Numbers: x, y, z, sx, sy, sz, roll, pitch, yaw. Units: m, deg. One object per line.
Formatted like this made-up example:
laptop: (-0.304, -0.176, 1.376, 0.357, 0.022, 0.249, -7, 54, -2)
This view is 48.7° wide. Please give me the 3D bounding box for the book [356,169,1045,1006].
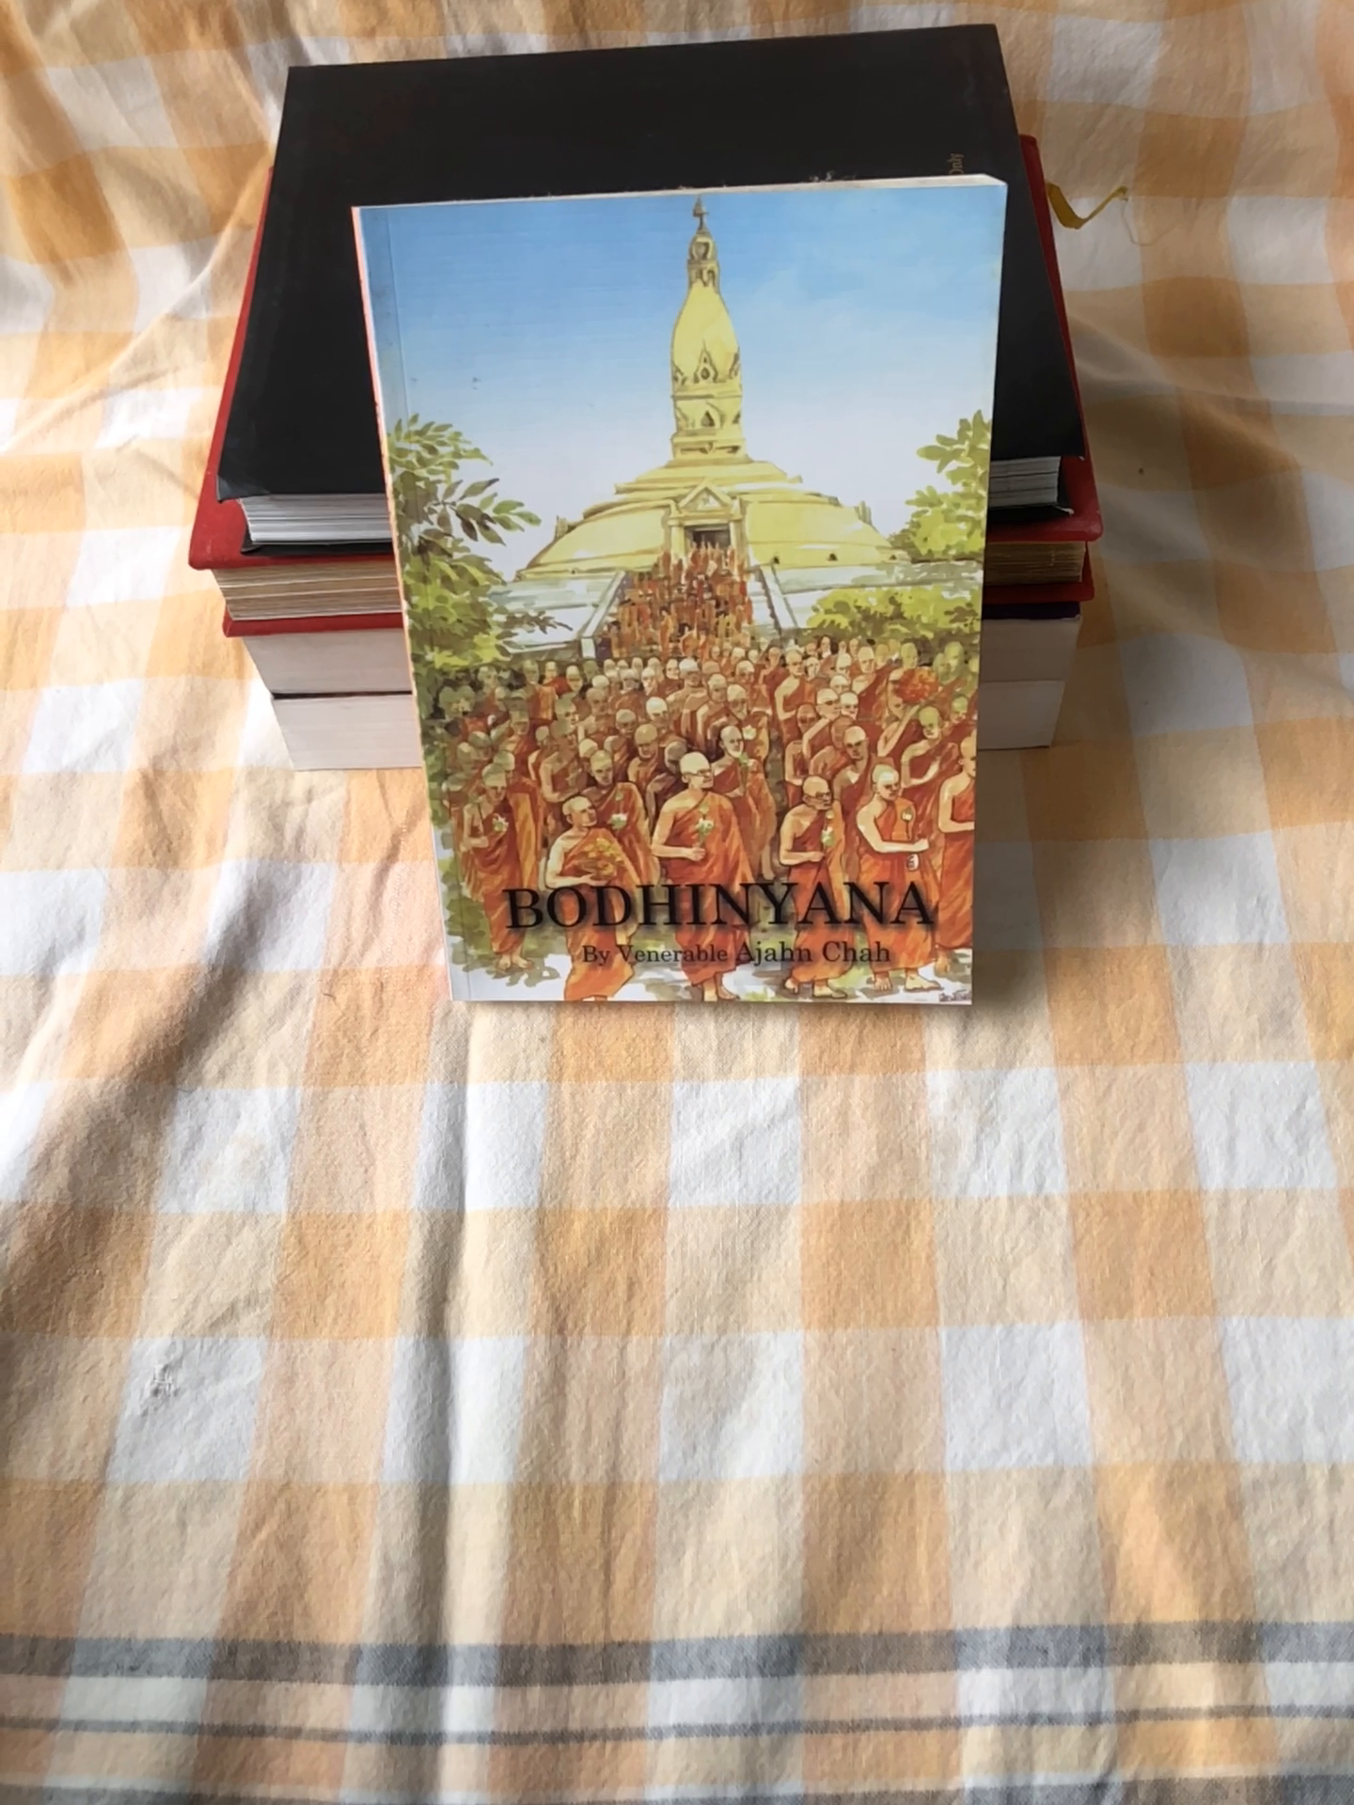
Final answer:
book: (0.007, -0.072, 0.377, 0.150, 0.200, 0.030, 1, 23, 5)
